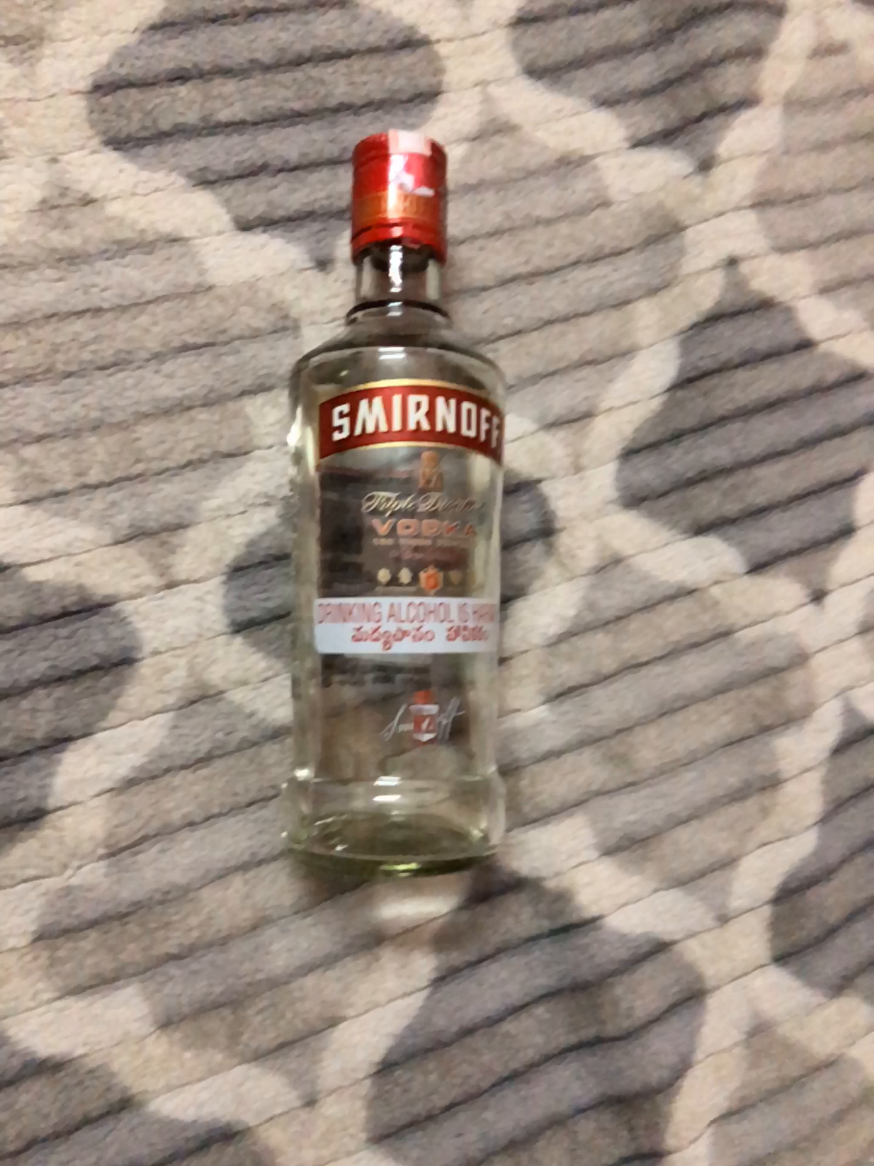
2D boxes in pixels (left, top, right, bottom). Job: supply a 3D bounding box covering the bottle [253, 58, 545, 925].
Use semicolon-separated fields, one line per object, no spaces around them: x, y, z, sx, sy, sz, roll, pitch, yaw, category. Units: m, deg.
-0.013;-0.025;0.295;0.070;0.060;0.230;2;84;-21;bottle
